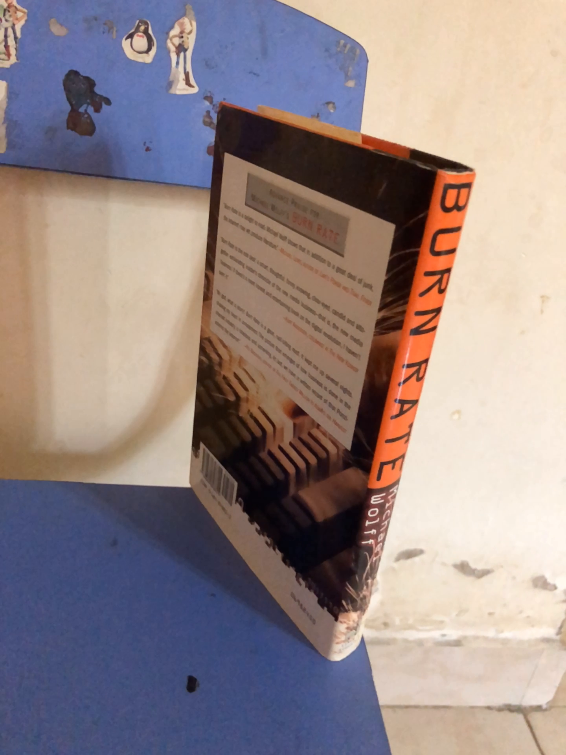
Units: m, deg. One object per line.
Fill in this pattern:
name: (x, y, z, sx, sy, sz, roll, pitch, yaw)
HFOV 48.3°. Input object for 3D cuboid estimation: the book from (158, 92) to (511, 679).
book: (-0.005, -0.009, 0.333, 0.040, 0.239, 0.200, -11, 31, -32)
